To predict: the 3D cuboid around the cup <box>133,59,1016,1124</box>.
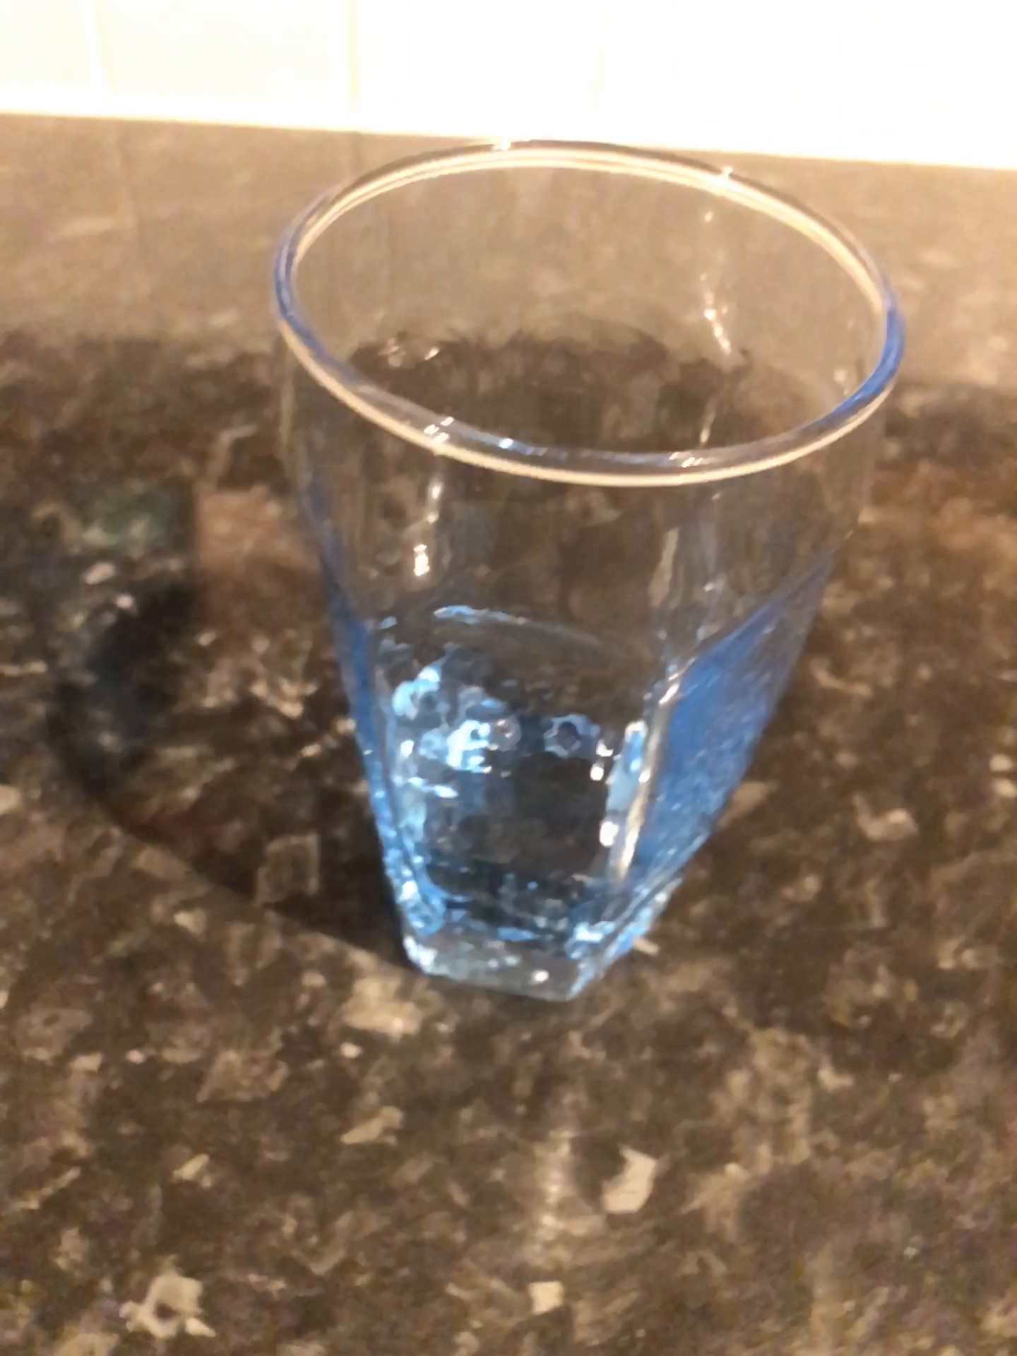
[{"bbox_3d":[0.008,-0.009,0.170,0.080,0.119,0.070,-27,55,-26],"label":"cup"}]
